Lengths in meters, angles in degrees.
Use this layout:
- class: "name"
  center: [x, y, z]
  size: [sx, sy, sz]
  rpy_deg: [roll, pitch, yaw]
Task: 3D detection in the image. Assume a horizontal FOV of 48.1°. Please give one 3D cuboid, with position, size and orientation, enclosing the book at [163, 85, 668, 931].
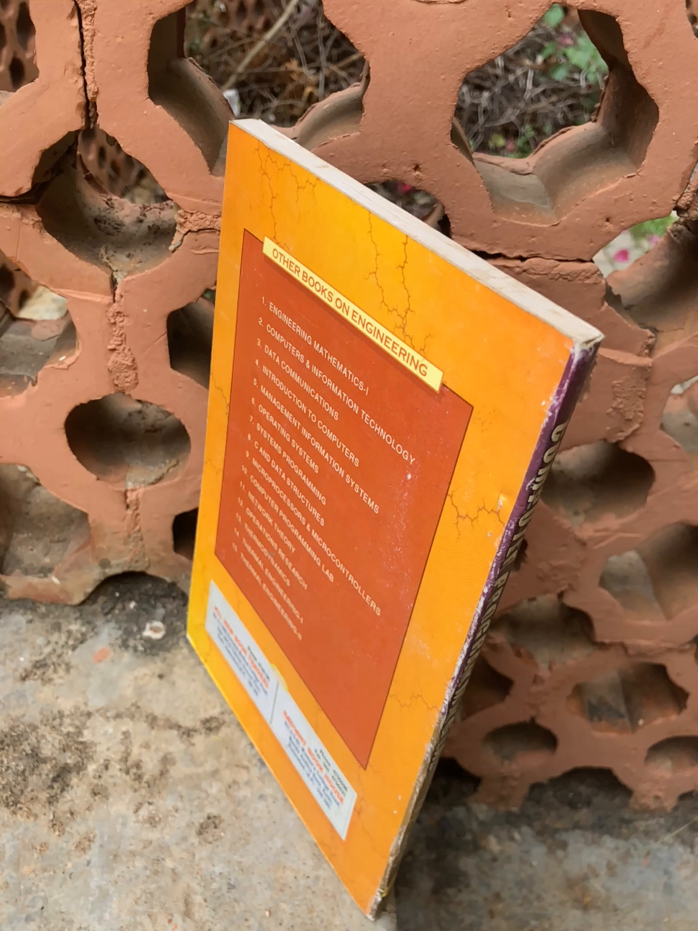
- class: "book"
  center: [-0.015, 0.021, 0.280]
  size: [0.020, 0.249, 0.181]
  rpy_deg: [-13, 41, -33]
